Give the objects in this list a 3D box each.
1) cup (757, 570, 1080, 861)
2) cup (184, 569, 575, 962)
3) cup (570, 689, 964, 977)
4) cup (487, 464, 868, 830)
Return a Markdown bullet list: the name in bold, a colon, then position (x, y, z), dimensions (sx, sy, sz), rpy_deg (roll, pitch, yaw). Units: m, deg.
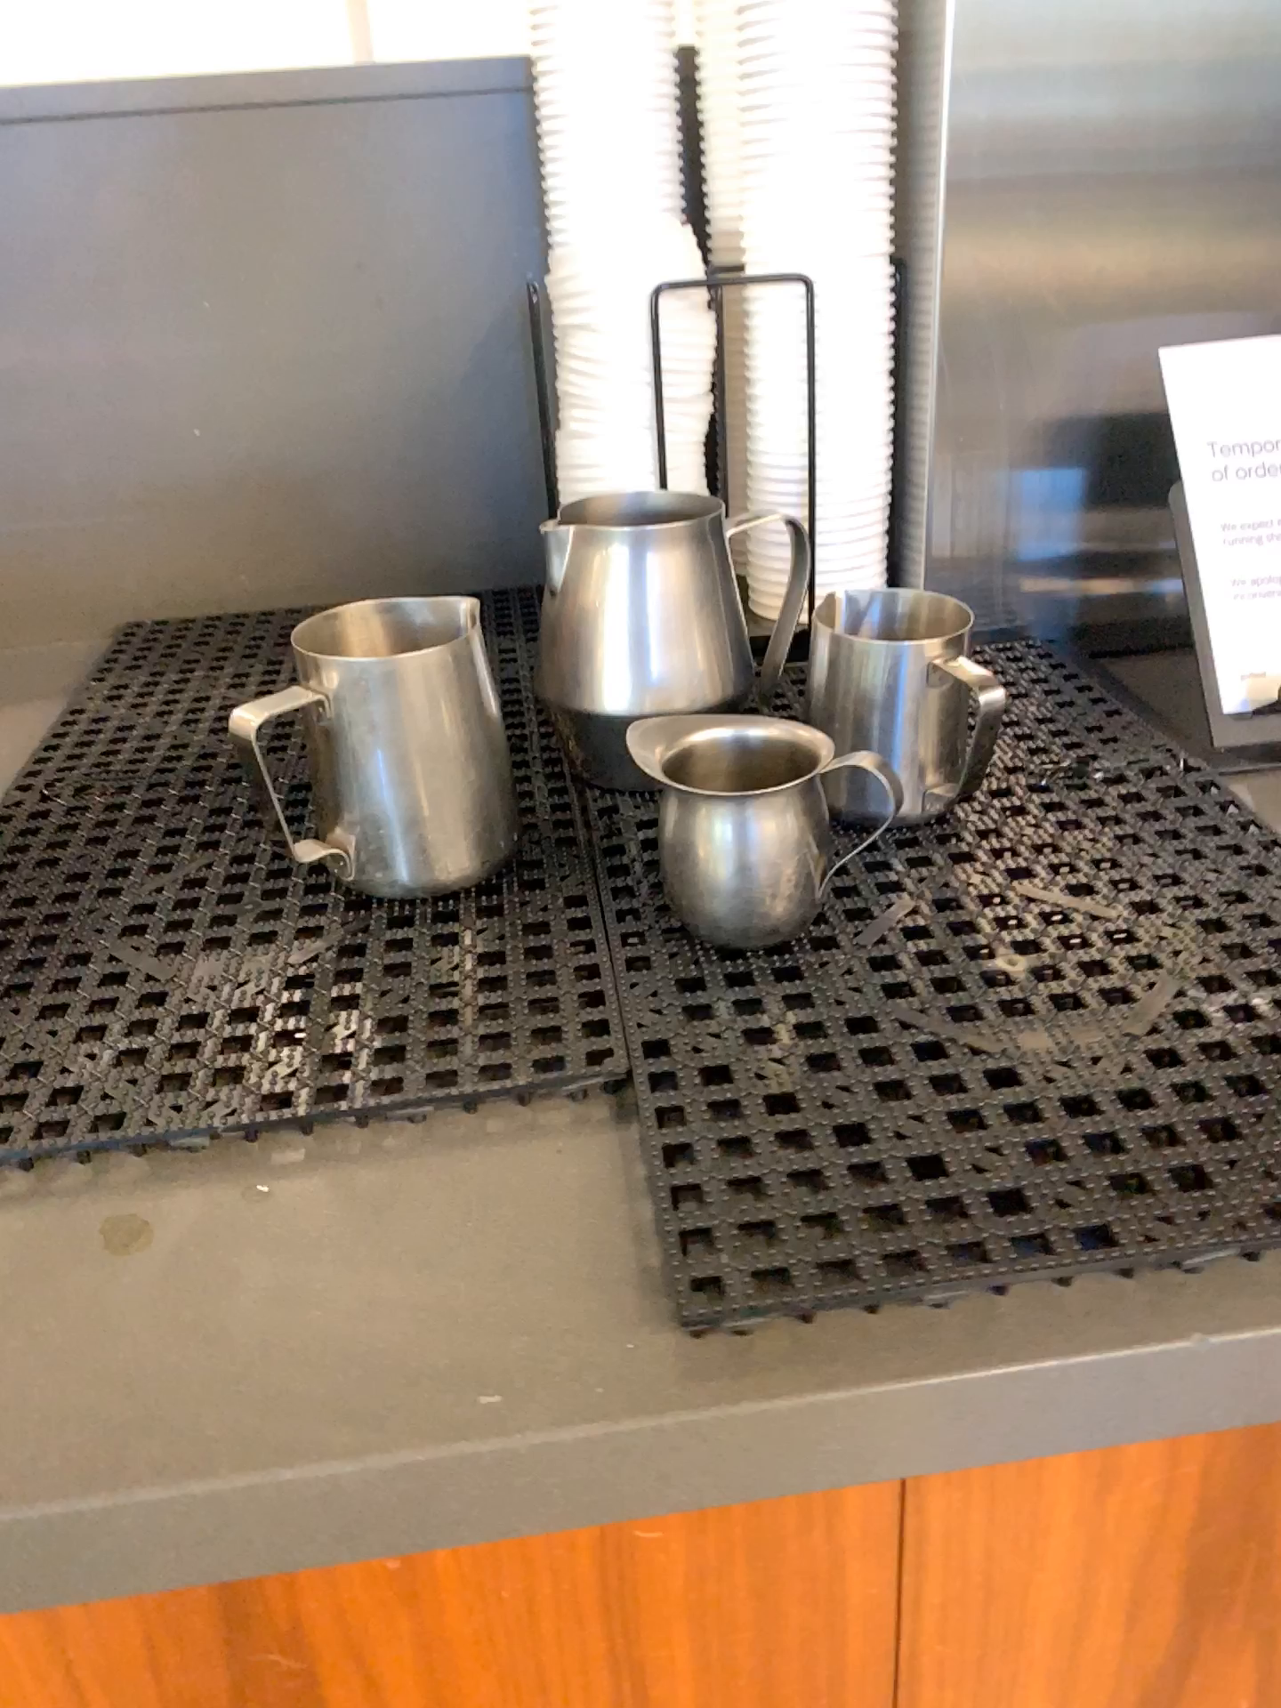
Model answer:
- **cup**: position (0.116, -0.065, 0.569), dimensions (0.080, 0.080, 0.111), rpy_deg (-18, 31, -25)
- **cup**: position (-0.099, -0.042, 0.534), dimensions (0.080, 0.109, 0.120), rpy_deg (15, 33, 32)
- **cup**: position (0.048, -0.013, 0.487), dimensions (0.120, 0.060, 0.080), rpy_deg (10, 31, 25)
- **cup**: position (0.018, -0.106, 0.644), dimensions (0.150, 0.129, 0.101), rpy_deg (-14, 29, -19)
